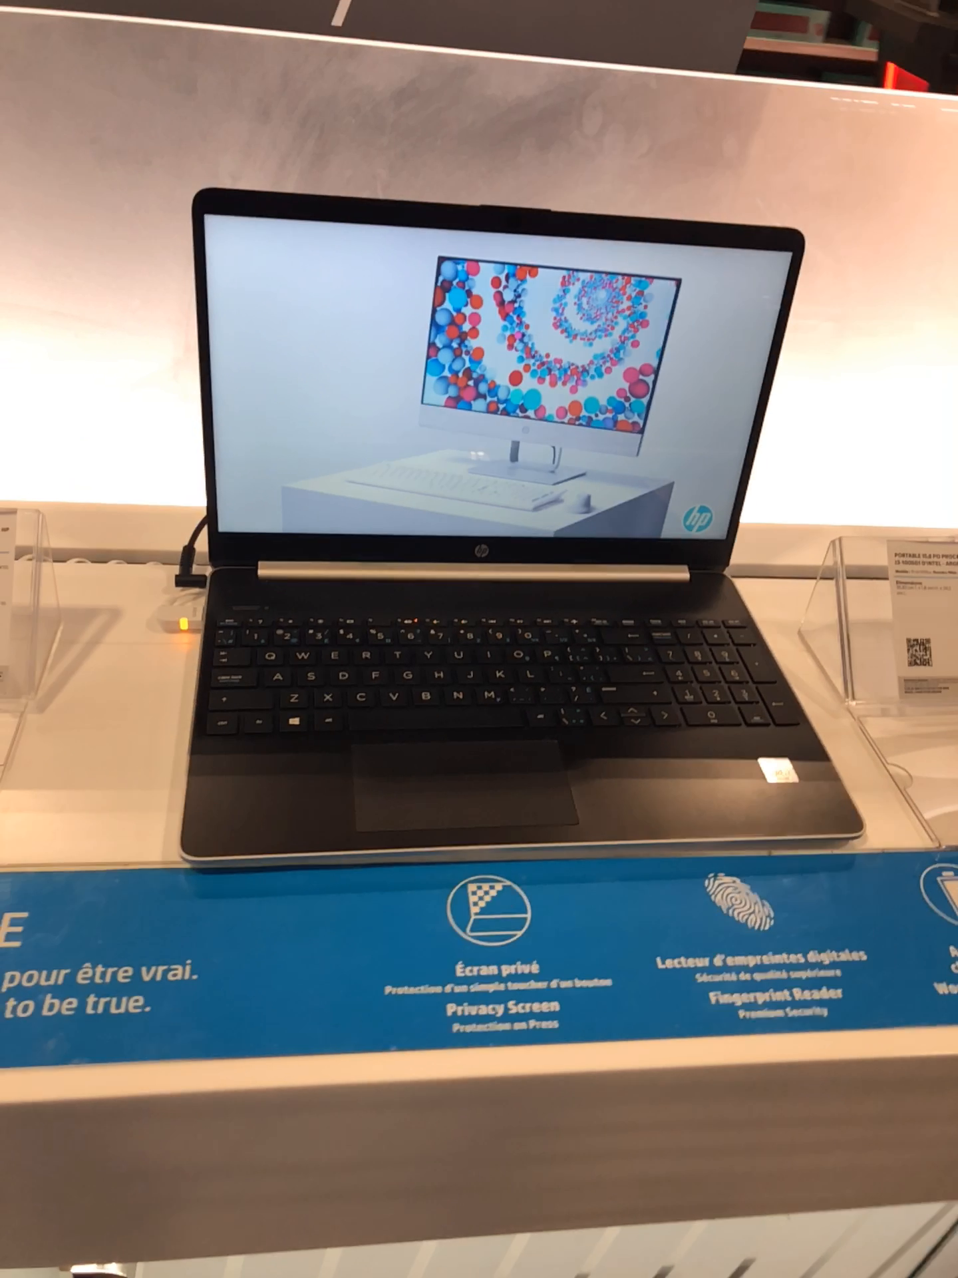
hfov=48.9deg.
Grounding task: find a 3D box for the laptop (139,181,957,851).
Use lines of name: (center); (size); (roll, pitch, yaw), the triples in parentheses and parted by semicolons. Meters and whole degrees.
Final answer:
laptop: (0.026, -0.077, 0.575); (0.355, 0.221, 0.284); (0, 39, -10)
